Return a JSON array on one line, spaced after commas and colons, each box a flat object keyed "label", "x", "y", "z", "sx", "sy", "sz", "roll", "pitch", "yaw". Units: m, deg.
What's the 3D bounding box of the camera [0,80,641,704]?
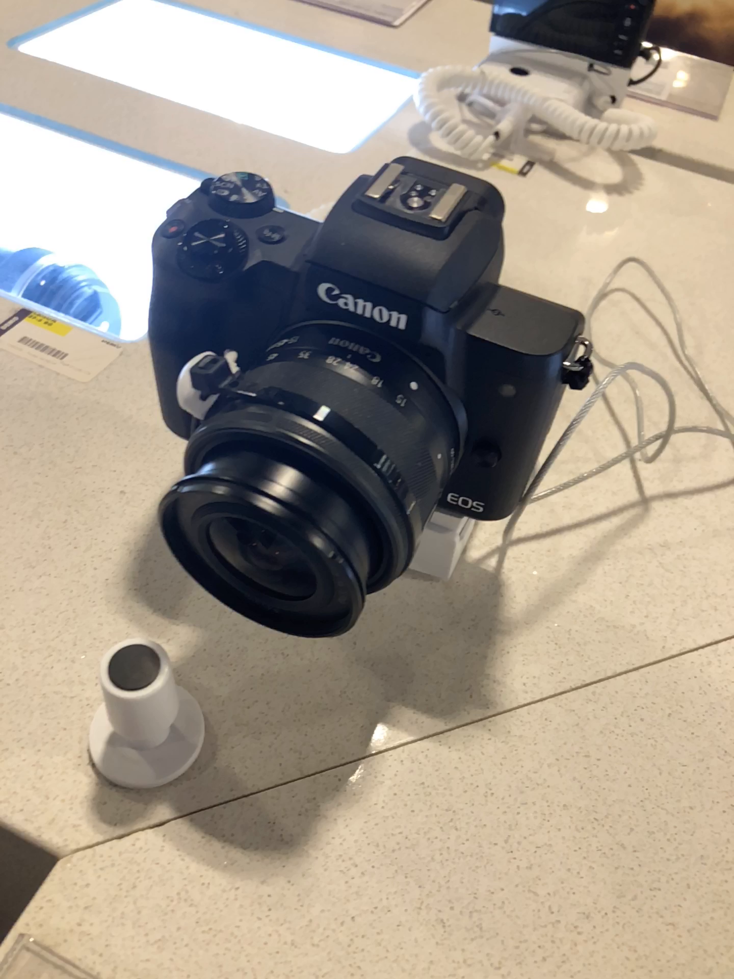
[{"label": "camera", "x": -0.012, "y": -0.036, "z": 0.226, "sx": 0.130, "sy": 0.079, "sz": 0.121, "roll": 22, "pitch": 48, "yaw": 12}]
